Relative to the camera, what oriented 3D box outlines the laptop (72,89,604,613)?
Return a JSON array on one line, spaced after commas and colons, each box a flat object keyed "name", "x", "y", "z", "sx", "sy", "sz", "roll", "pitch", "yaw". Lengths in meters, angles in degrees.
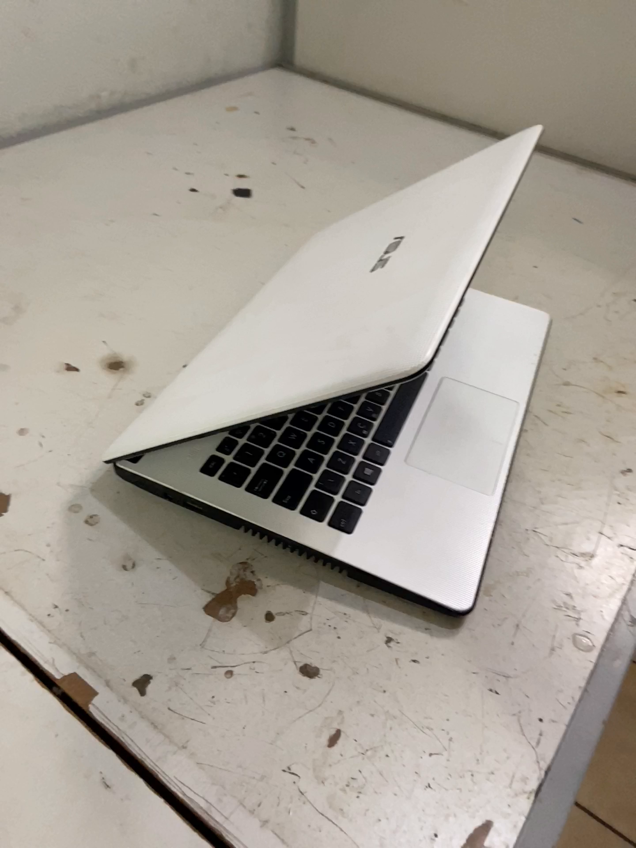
[{"name": "laptop", "x": 0.047, "y": -0.092, "z": 0.464, "sx": 0.236, "sy": 0.141, "sz": 0.345, "roll": 20, "pitch": 44, "yaw": 12}]
